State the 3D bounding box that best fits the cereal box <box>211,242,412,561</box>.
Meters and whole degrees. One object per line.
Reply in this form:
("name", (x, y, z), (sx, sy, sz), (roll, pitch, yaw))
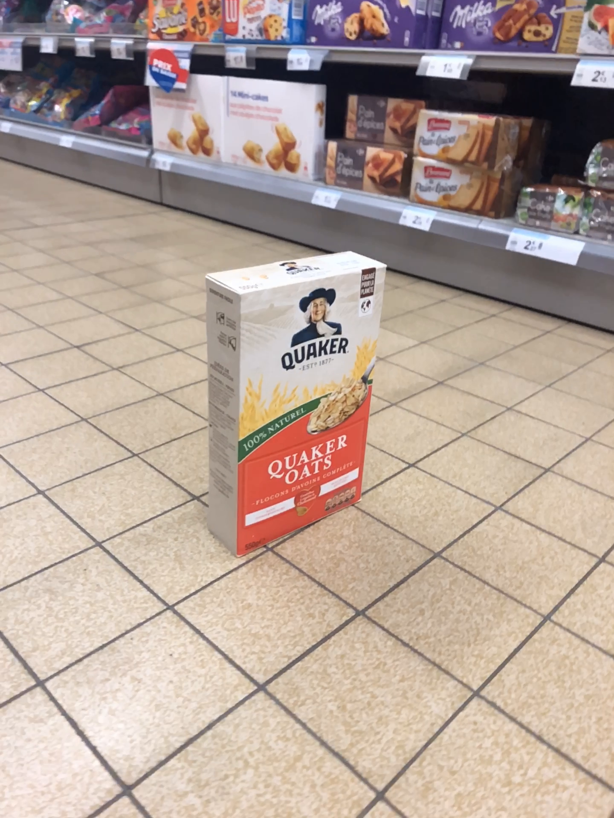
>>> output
("cereal box", (0.001, -0.009, 0.549), (0.151, 0.229, 0.050), (-16, 32, -35))
